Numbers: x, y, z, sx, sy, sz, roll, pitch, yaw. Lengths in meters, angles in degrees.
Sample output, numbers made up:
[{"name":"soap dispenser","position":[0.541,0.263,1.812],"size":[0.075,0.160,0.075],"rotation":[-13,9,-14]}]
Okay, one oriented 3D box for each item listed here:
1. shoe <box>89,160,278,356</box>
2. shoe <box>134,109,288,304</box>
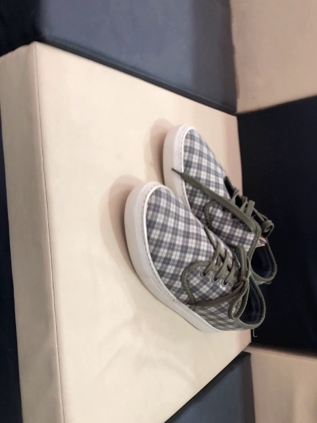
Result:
[{"name":"shoe","position":[0.052,0.069,0.452],"size":[0.272,0.099,0.100],"rotation":[52,56,-37]},{"name":"shoe","position":[0.089,0.003,0.504],"size":[0.100,0.099,0.261],"rotation":[-53,128,-32]}]
